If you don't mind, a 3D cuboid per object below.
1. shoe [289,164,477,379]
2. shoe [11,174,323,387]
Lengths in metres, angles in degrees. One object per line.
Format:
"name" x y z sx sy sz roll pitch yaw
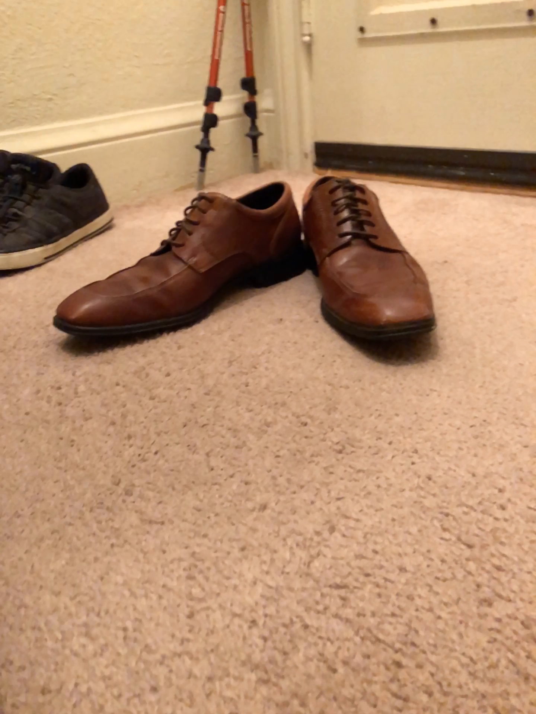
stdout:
"shoe" 0.094 -0.106 0.596 0.100 0.109 0.302 -7 28 -3
"shoe" -0.089 -0.100 0.636 0.301 0.119 0.120 -27 35 -35
